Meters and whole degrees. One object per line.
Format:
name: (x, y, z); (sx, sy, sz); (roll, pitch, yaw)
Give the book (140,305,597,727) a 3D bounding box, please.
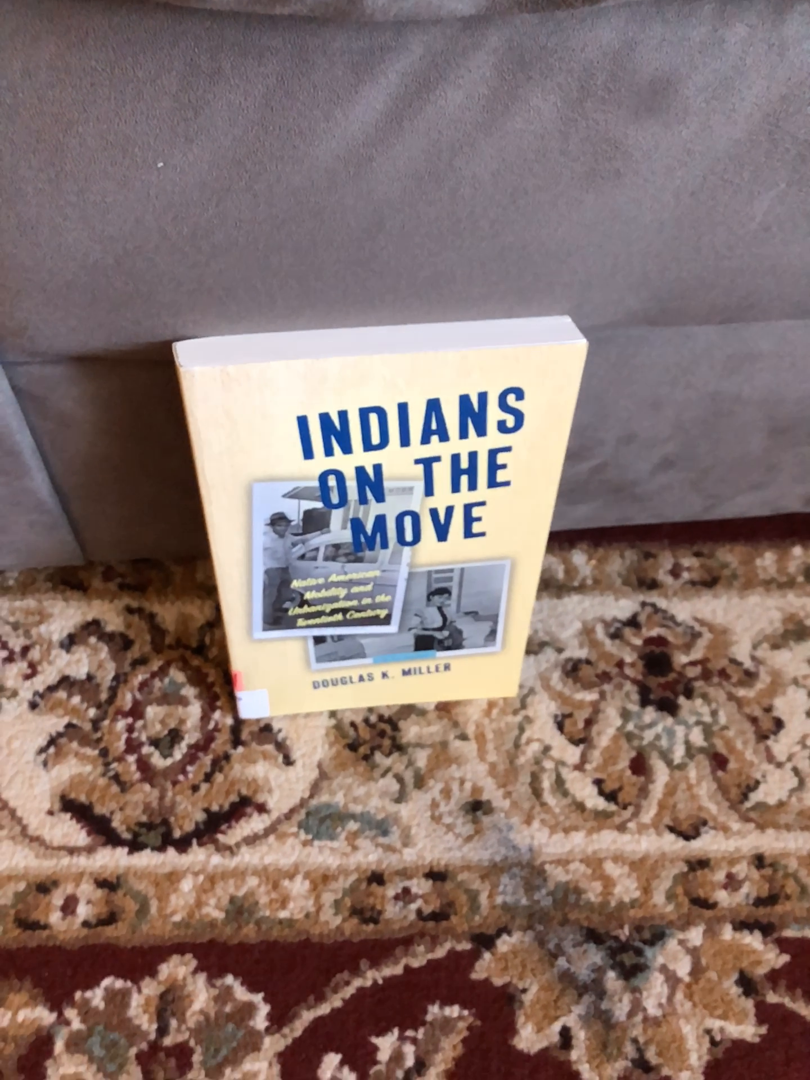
book: (-0.013, 0.005, 0.410); (0.160, 0.230, 0.030); (-4, 48, -4)
